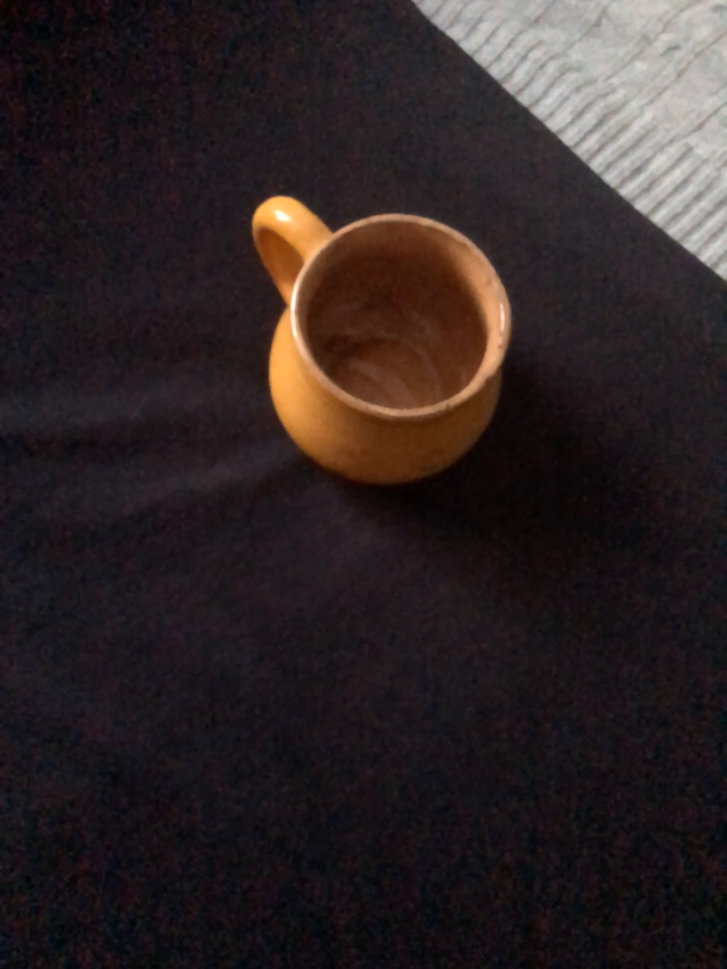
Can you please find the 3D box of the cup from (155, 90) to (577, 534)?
[{"bbox_3d":[-0.002,-0.059,0.290,0.082,0.058,0.119,-34,80,-16],"label":"cup"}]
